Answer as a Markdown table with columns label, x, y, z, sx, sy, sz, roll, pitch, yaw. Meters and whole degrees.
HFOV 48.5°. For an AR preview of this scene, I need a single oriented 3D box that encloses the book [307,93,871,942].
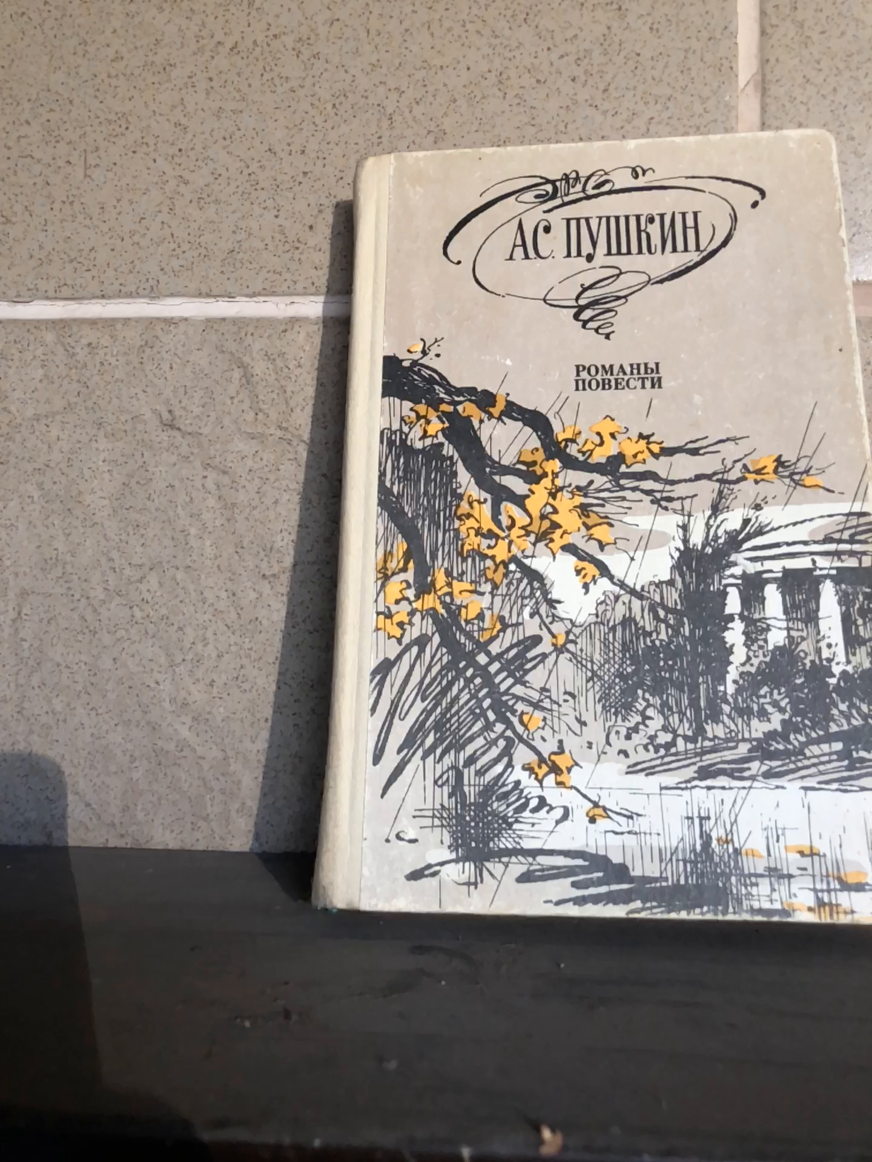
| label | x | y | z | sx | sy | sz | roll | pitch | yaw |
| --- | --- | --- | --- | --- | --- | --- | --- | --- | --- |
| book | 0.039 | -0.021 | 0.235 | 0.130 | 0.199 | 0.020 | 0 | -12 | 6 |
